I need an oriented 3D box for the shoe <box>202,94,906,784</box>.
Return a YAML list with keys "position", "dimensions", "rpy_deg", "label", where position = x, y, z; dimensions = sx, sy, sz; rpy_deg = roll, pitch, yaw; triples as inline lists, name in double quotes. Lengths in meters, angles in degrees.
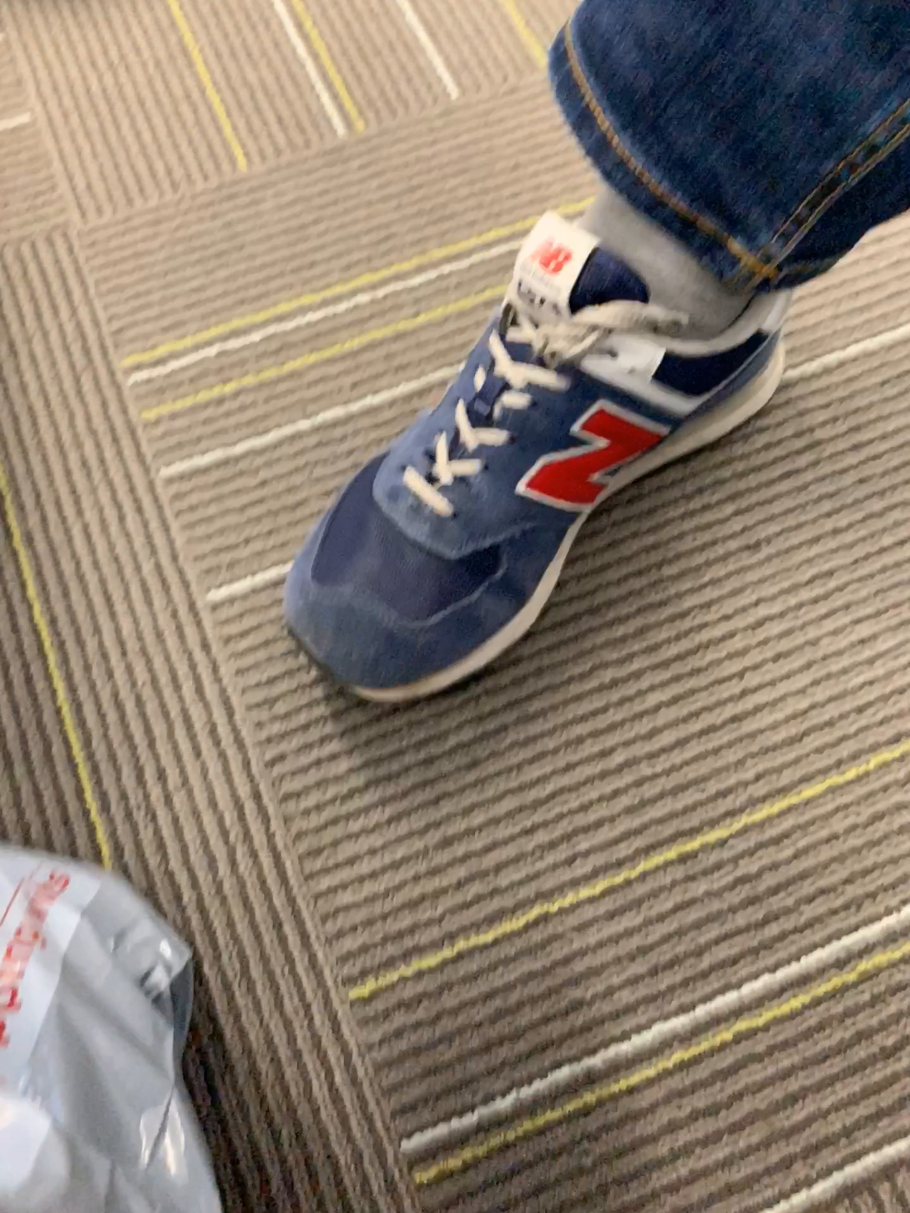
- position: [0.050, -0.074, 0.449]
  dimensions: [0.108, 0.139, 0.307]
  rpy_deg: [43, 76, 15]
  label: "shoe"
